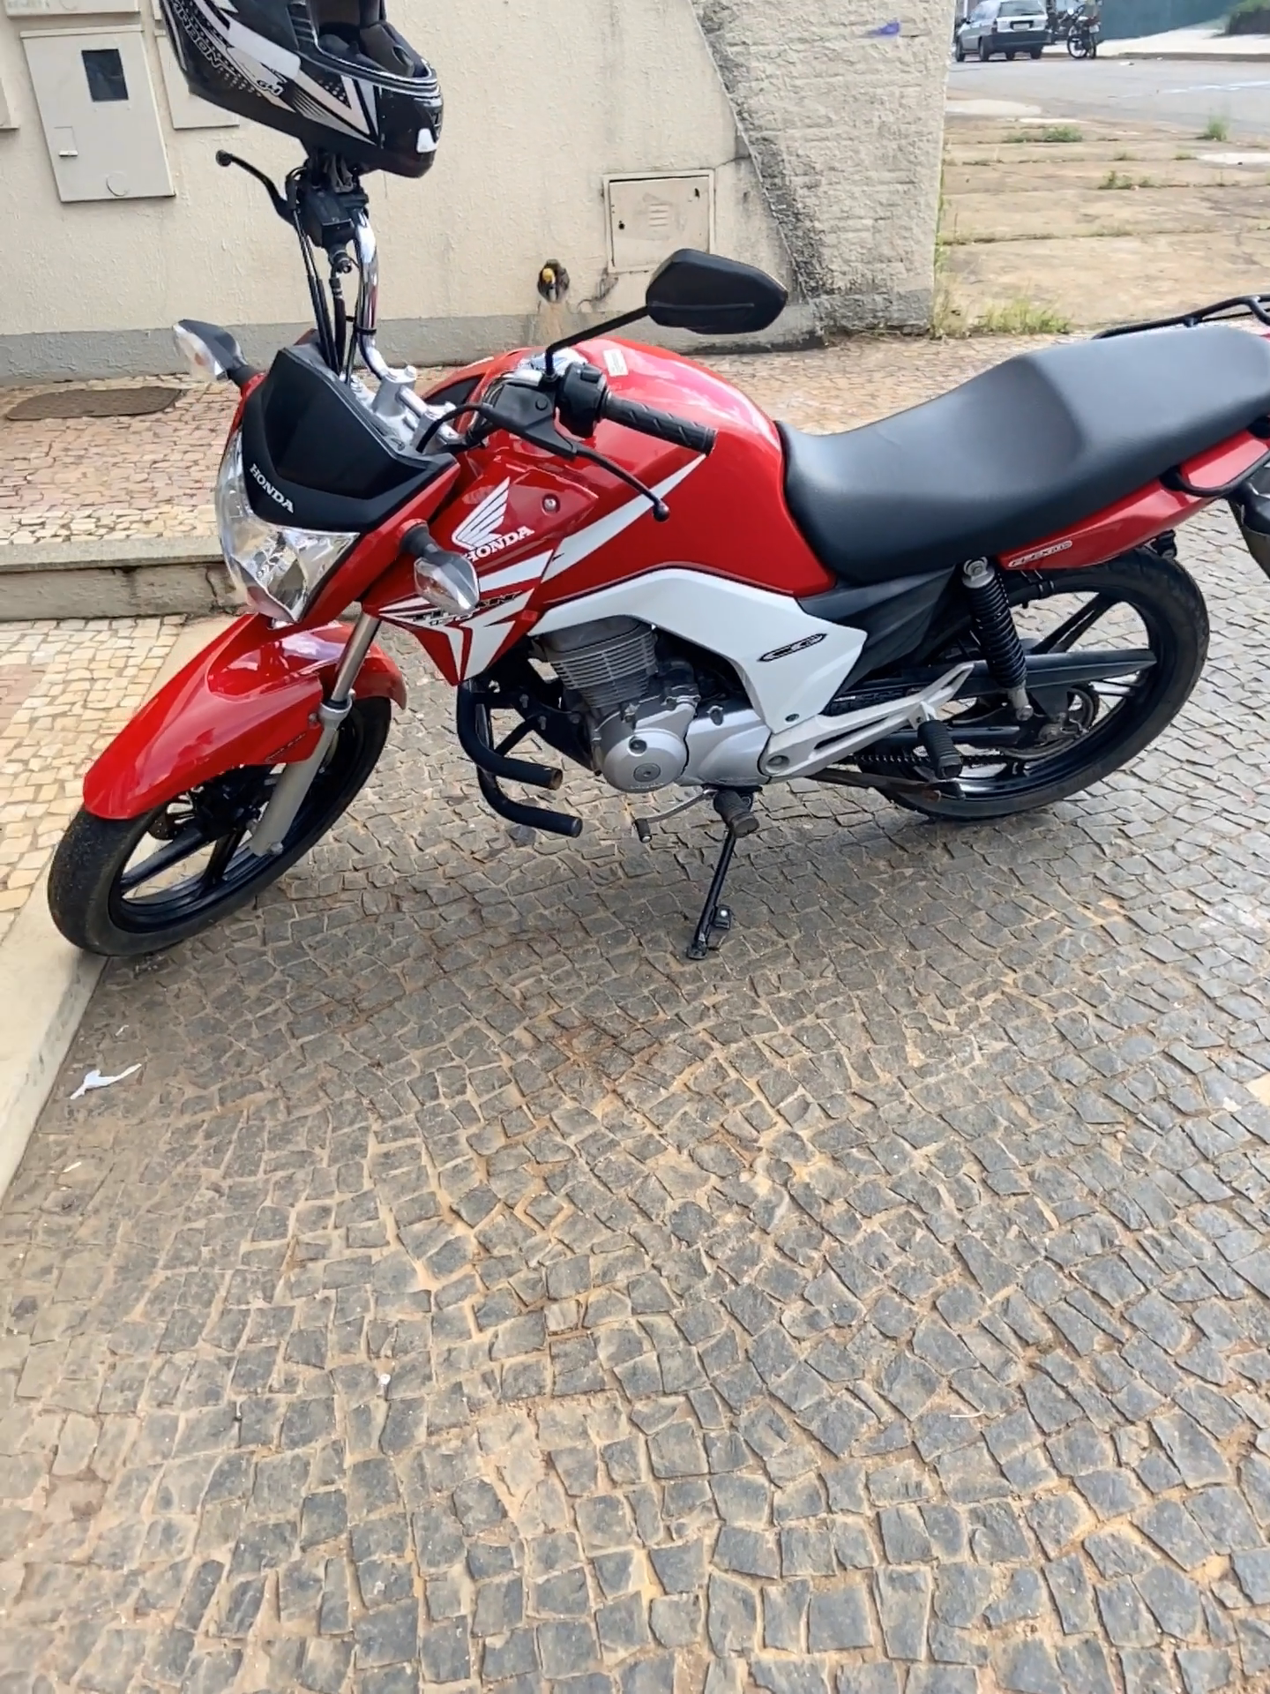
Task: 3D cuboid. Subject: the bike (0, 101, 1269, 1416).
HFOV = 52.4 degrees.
[{"bbox_3d":[0.167,-0.292,1.974,2.072,1.382,0.813,-14,32,-18],"label":"bike"}]
